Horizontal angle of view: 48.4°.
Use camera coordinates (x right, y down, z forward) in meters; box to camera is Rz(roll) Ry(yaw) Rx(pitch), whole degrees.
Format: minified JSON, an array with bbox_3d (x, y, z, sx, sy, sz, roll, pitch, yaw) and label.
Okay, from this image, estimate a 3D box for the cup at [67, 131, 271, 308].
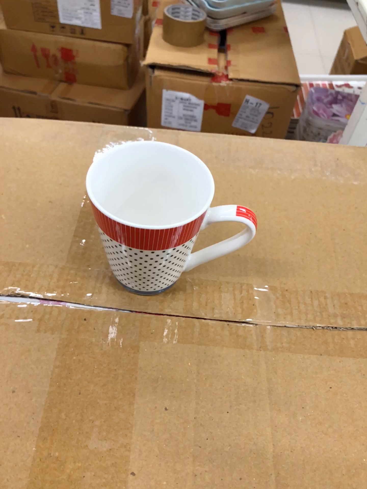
[{"bbox_3d":[-0.012,-0.016,0.303,0.120,0.089,0.091,1,51,-4],"label":"cup"}]
